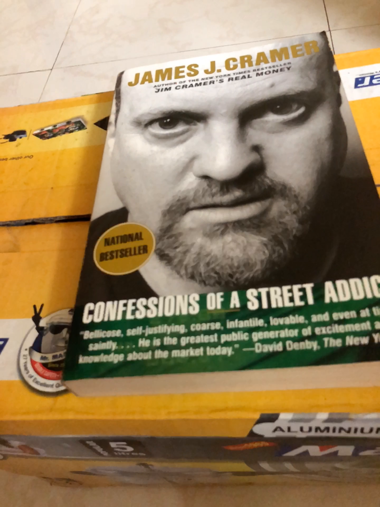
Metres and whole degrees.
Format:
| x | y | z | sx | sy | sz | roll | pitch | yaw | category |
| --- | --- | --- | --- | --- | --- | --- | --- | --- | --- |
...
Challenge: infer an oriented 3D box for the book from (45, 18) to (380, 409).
| x | y | z | sx | sy | sz | roll | pitch | yaw | category |
| --- | --- | --- | --- | --- | --- | --- | --- | --- | --- |
| 0.019 | -0.042 | 0.226 | 0.140 | 0.030 | 0.231 | -6 | 53 | 9 | book |
